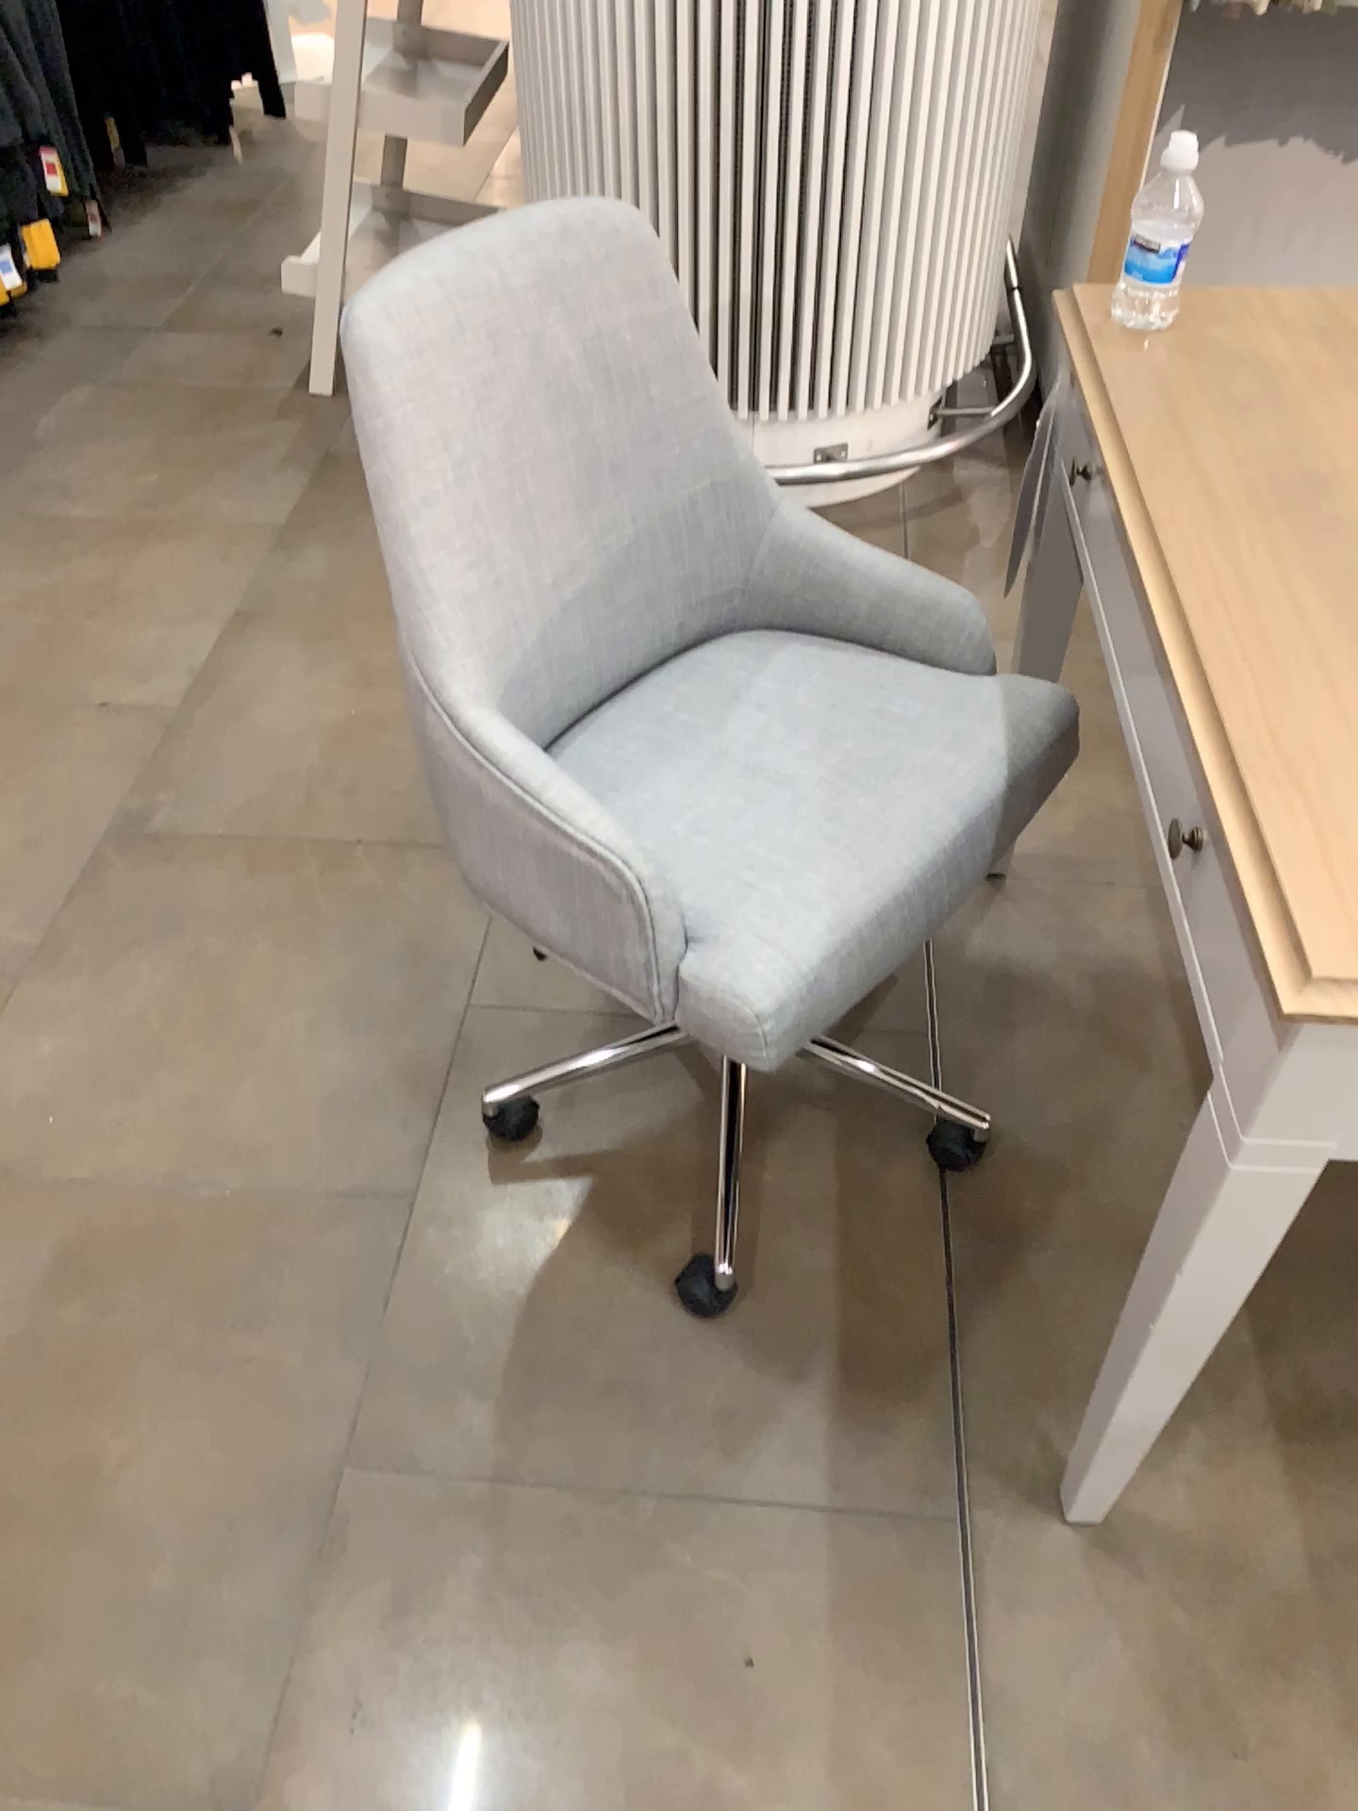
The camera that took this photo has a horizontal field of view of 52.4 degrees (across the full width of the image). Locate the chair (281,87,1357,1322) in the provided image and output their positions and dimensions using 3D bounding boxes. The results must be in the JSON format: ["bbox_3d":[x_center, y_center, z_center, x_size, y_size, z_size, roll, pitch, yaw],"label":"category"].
[{"bbox_3d":[0.135,-0.213,1.406,0.638,0.891,0.628,31,52,29],"label":"chair"}]
